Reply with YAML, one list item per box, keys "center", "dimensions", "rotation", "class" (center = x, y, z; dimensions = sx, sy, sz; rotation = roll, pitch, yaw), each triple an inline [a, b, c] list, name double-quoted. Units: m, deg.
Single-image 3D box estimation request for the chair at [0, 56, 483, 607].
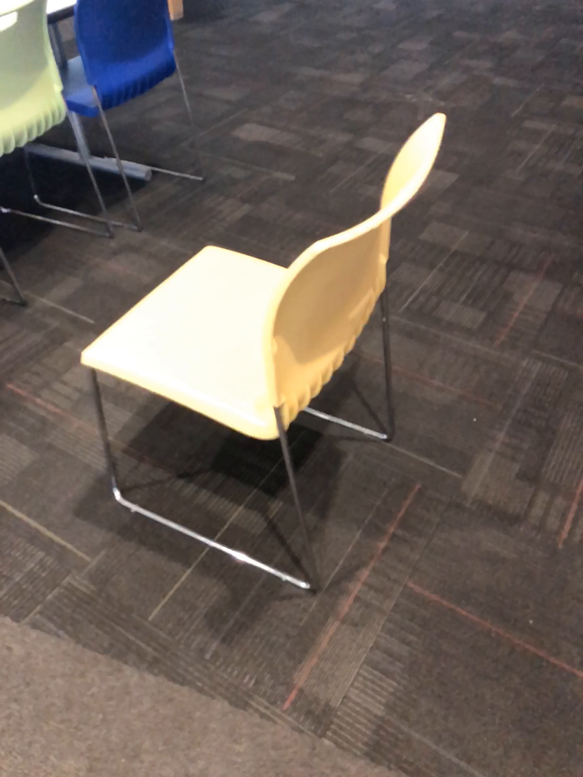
- center: [-0.059, -0.125, 1.210]
  dimensions: [0.561, 0.736, 0.572]
  rotation: [19, 46, 20]
  class: "chair"
